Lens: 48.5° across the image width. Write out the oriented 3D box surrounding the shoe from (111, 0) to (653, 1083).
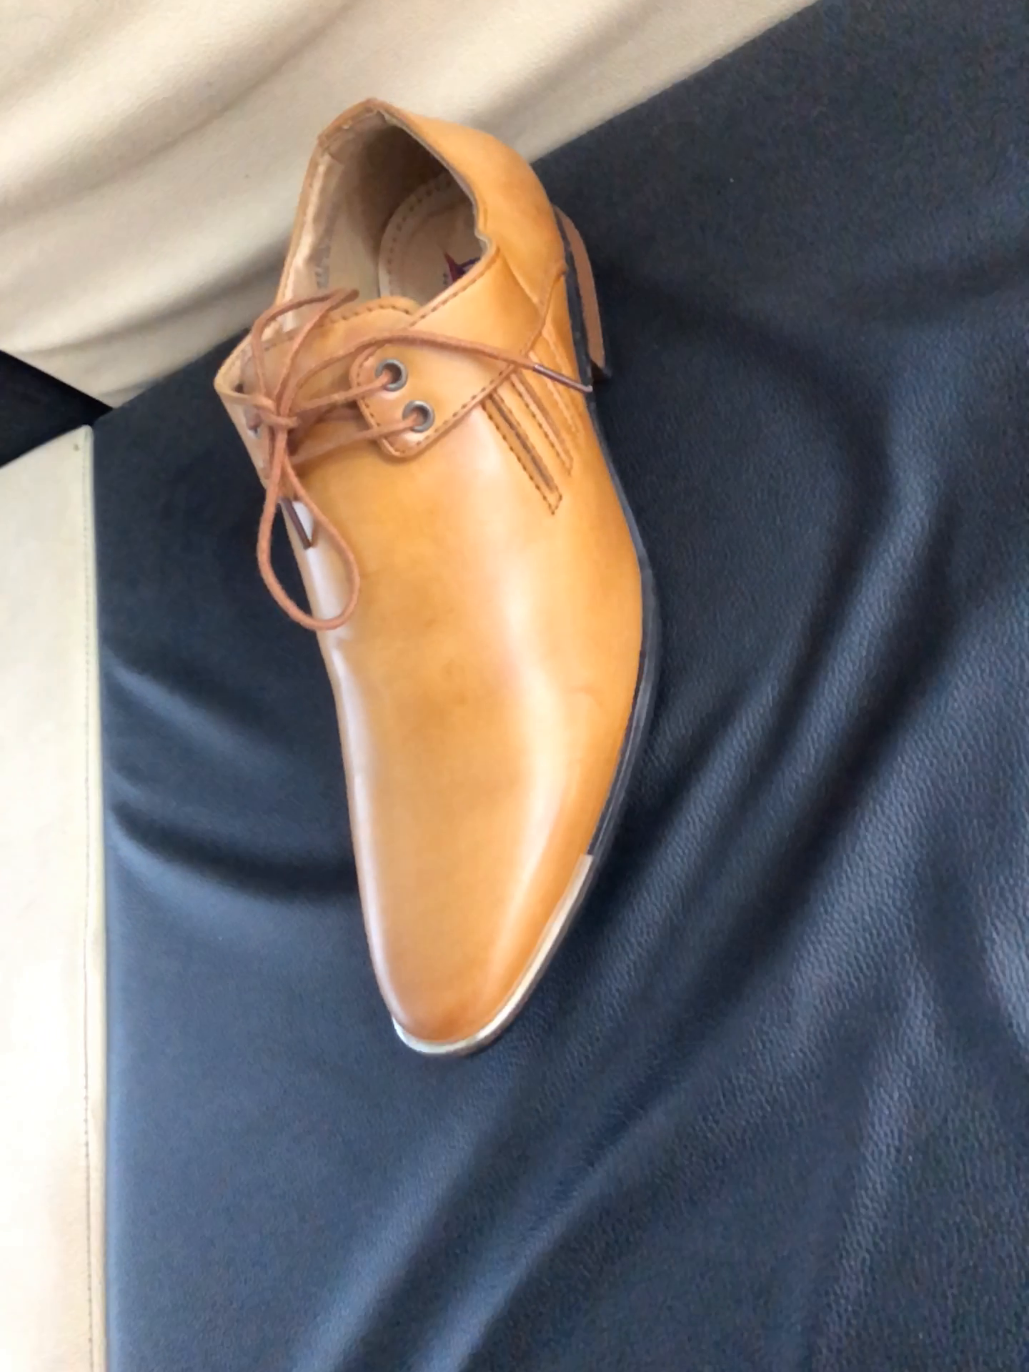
[{"bbox_3d":[-0.033,-0.035,0.323,0.110,0.080,0.270,-9,73,30],"label":"shoe"}]
